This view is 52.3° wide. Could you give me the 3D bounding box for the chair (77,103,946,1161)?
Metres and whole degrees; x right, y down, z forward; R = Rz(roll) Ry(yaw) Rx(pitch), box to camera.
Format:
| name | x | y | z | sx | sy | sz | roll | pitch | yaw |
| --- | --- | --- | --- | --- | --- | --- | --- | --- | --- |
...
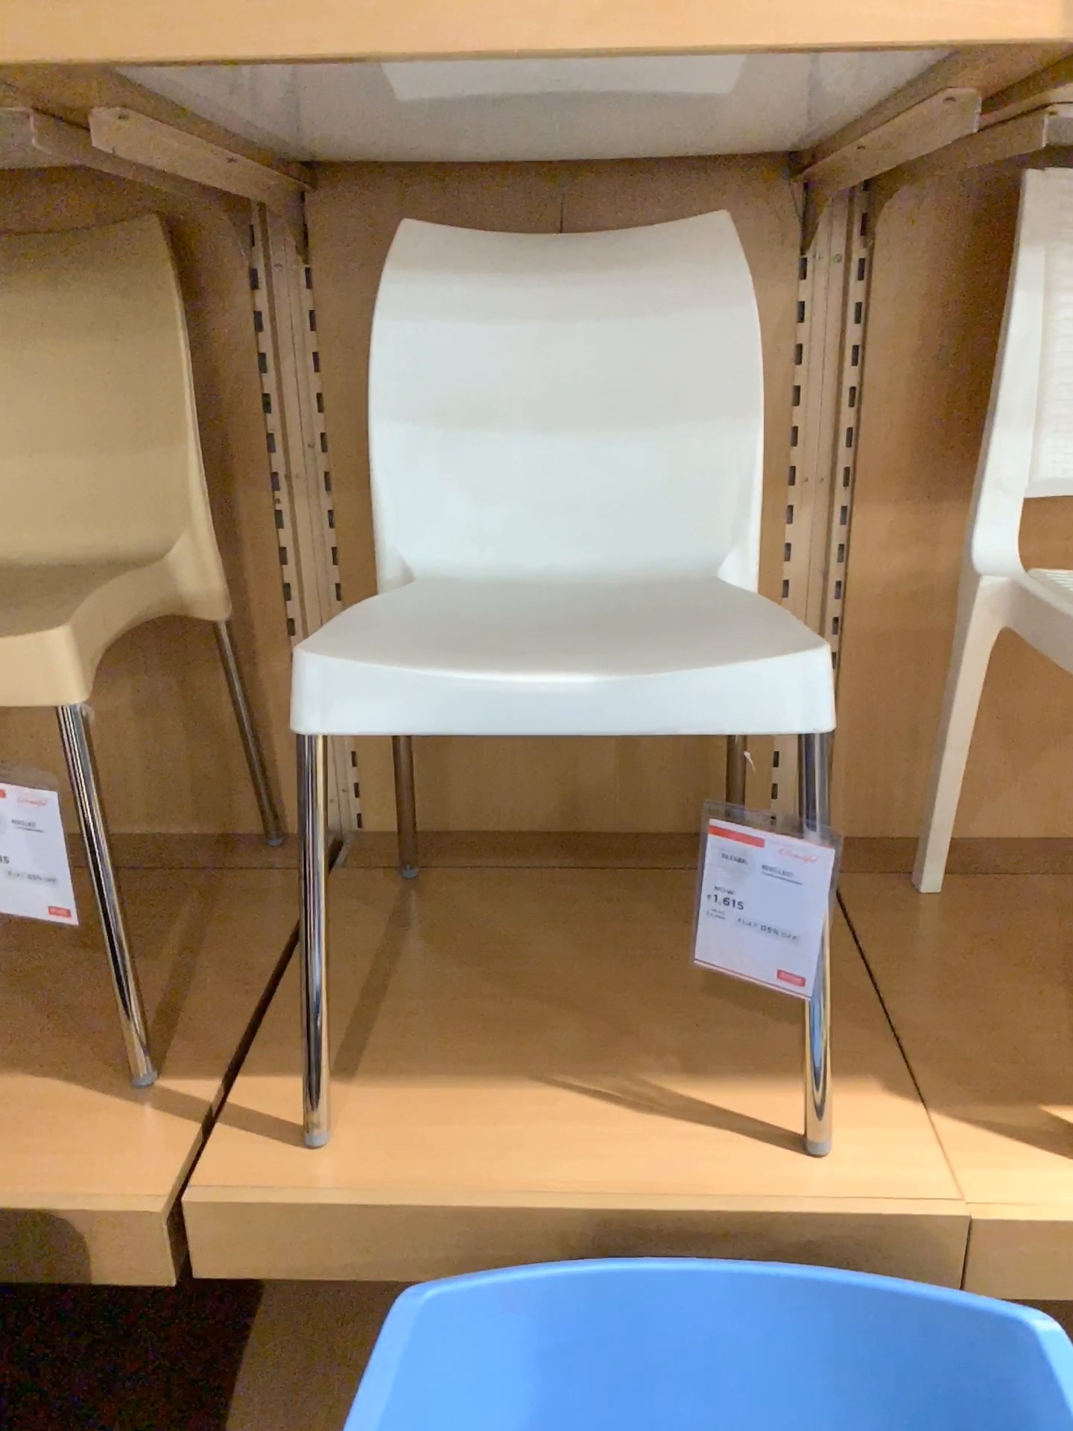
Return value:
| name | x | y | z | sx | sy | sz | roll | pitch | yaw |
| --- | --- | --- | --- | --- | --- | --- | --- | --- | --- |
| chair | -0.003 | -0.112 | 1.244 | 0.610 | 0.917 | 0.682 | 0 | 20 | 2 |
